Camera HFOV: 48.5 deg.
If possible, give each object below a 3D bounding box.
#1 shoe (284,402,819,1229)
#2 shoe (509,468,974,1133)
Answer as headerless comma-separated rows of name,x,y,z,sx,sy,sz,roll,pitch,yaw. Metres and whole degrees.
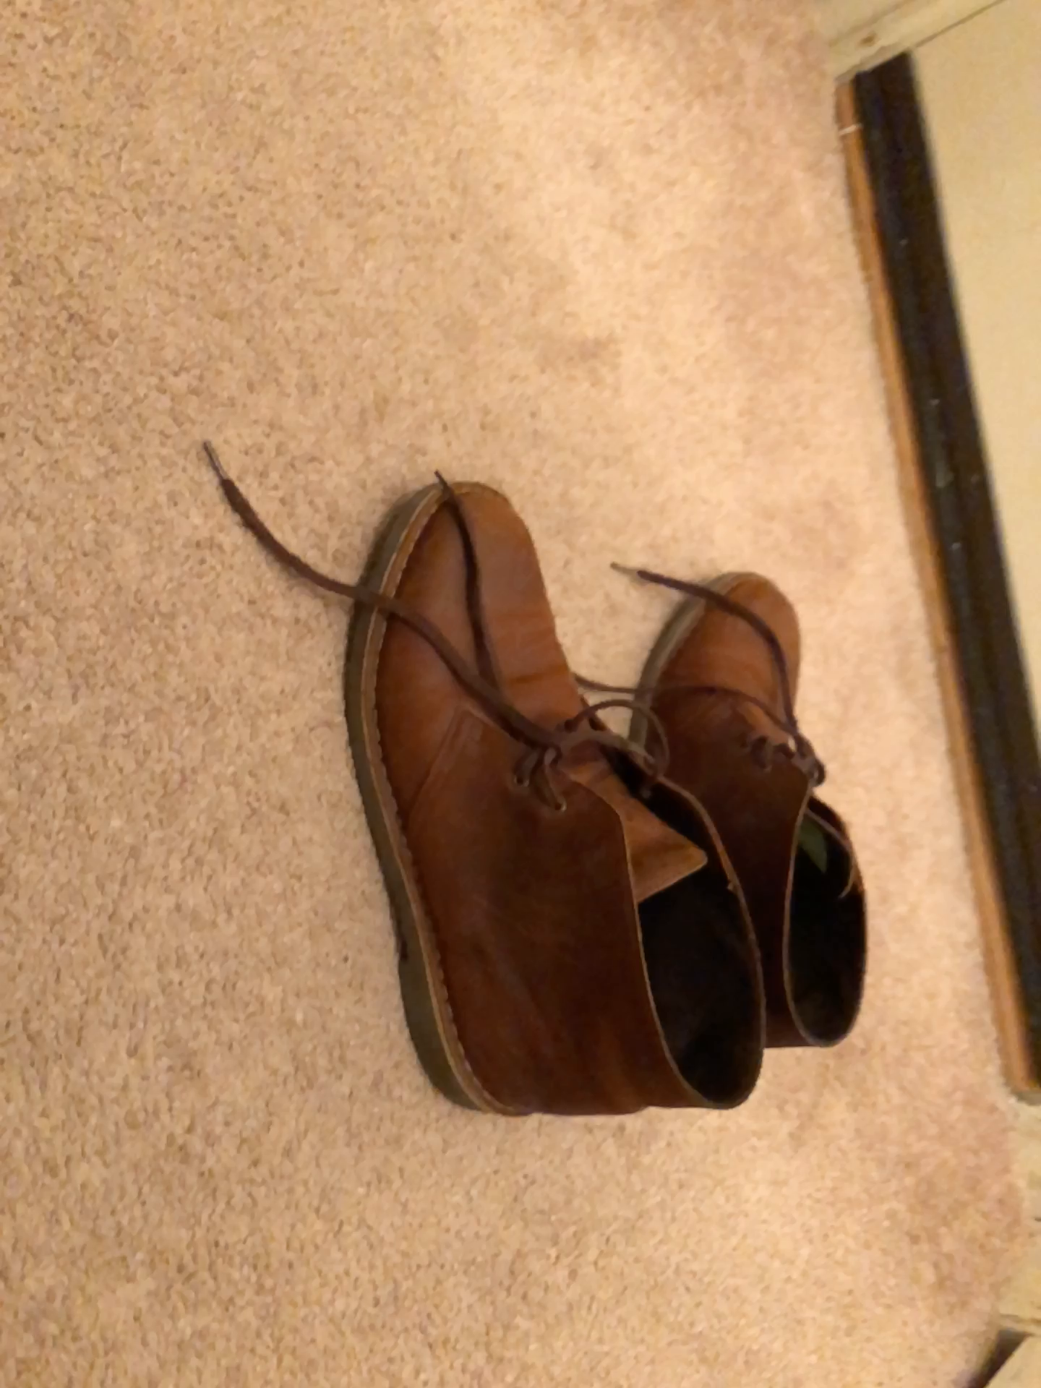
shoe,0.012,0.044,0.501,0.111,0.138,0.303,-13,93,-44
shoe,0.125,0.049,0.607,0.110,0.138,0.304,38,59,-33
